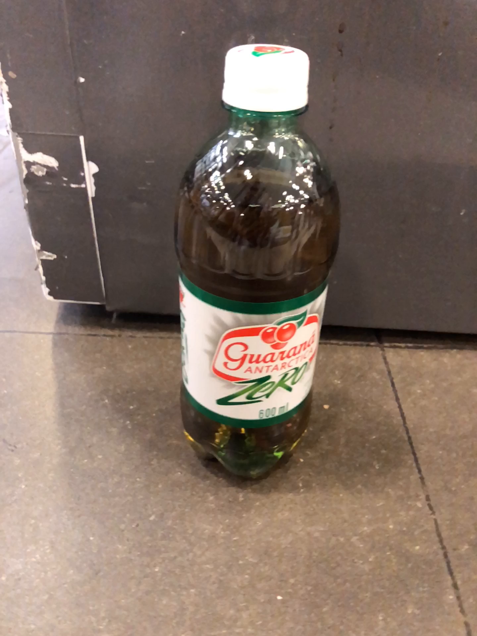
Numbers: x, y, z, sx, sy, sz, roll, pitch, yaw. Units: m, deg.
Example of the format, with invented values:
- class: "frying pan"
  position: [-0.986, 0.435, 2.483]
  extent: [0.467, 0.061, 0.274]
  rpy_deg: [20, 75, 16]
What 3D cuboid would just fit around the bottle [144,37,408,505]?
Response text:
- class: "bottle"
  position: [0.004, -0.010, 0.252]
  extent: [0.080, 0.208, 0.071]
  rpy_deg: [-5, 37, -10]
